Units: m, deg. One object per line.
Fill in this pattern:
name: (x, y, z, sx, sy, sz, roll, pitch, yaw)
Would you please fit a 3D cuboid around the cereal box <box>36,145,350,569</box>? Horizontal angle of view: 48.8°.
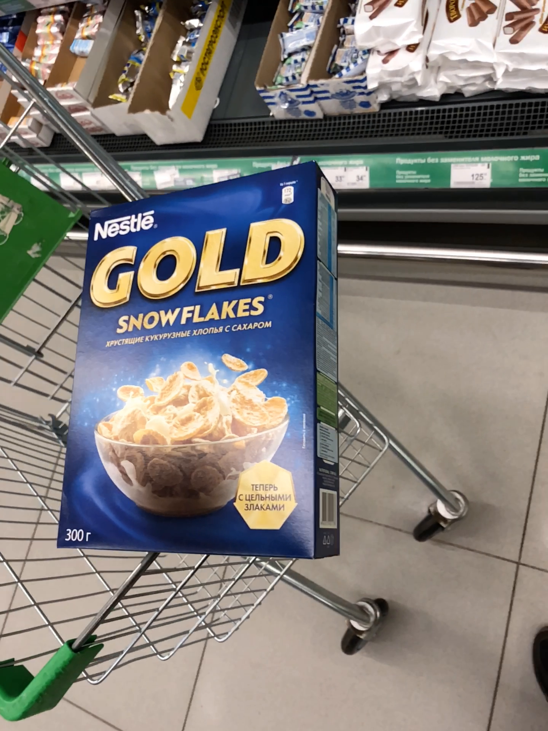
cereal box: (-0.052, -0.004, 0.426, 0.200, 0.050, 0.270, -5, 73, 20)
